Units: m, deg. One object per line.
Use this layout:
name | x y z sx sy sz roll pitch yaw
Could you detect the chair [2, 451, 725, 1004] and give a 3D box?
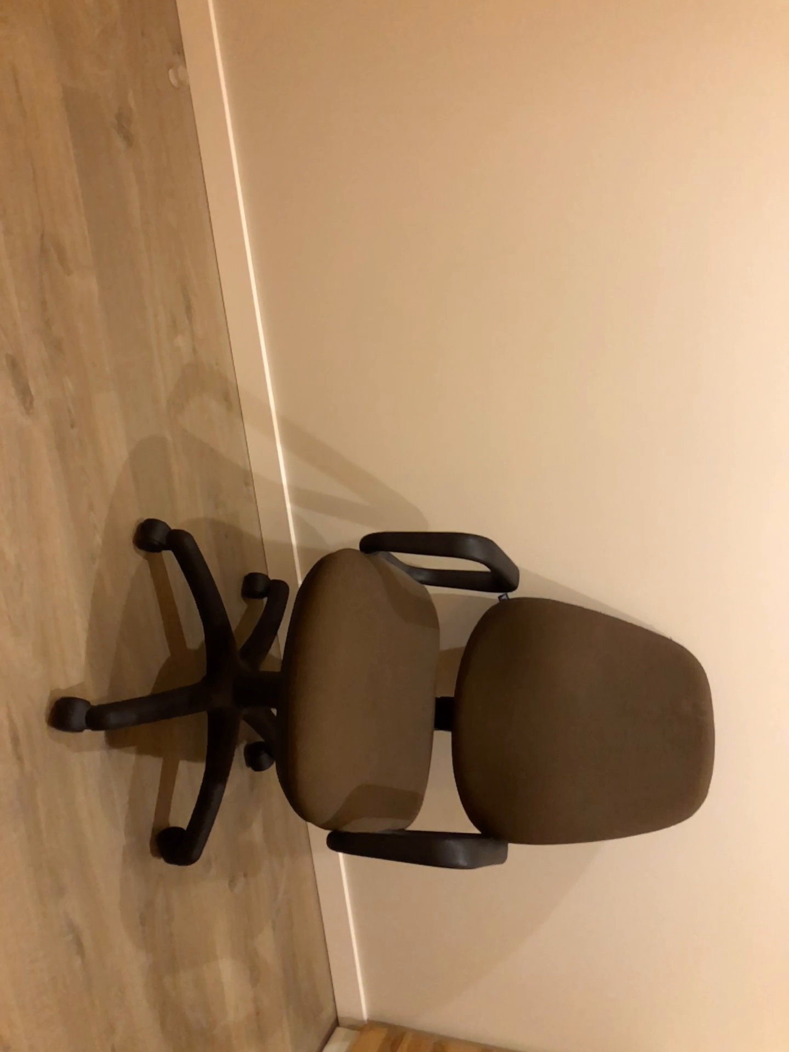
chair | 0.029 0.325 1.508 0.713 0.975 0.631 38 54 -61
